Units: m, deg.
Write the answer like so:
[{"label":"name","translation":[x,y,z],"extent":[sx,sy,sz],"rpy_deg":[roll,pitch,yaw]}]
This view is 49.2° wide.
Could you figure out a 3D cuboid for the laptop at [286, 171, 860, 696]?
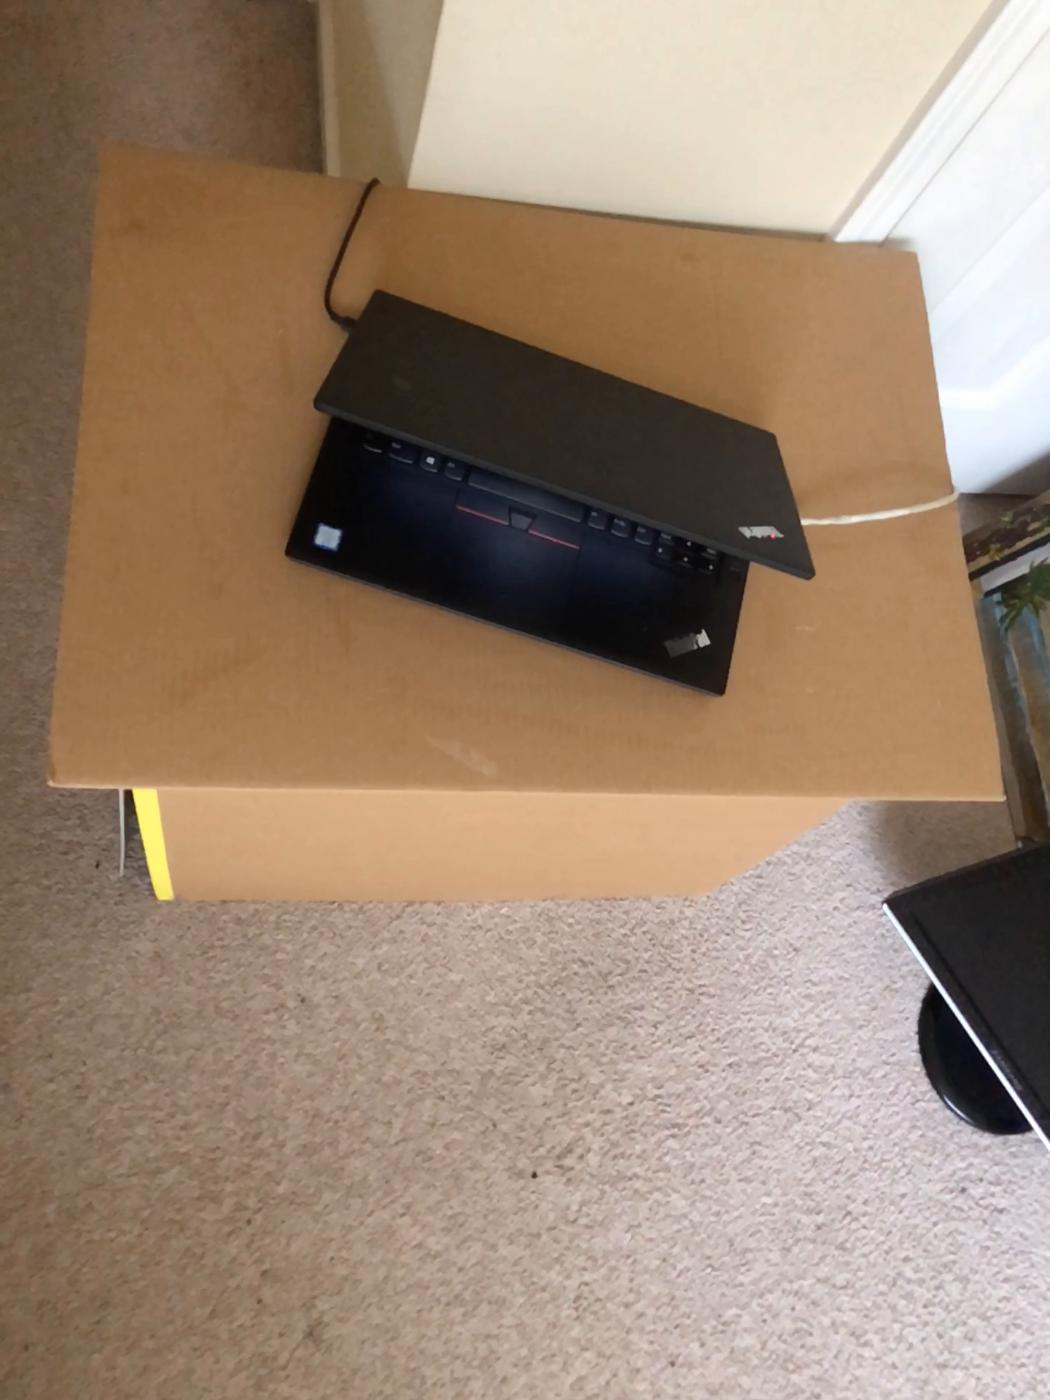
[{"label":"laptop","translation":[0.035,-0.176,0.802],"extent":[0.334,0.140,0.232],"rpy_deg":[17,67,-9]}]
